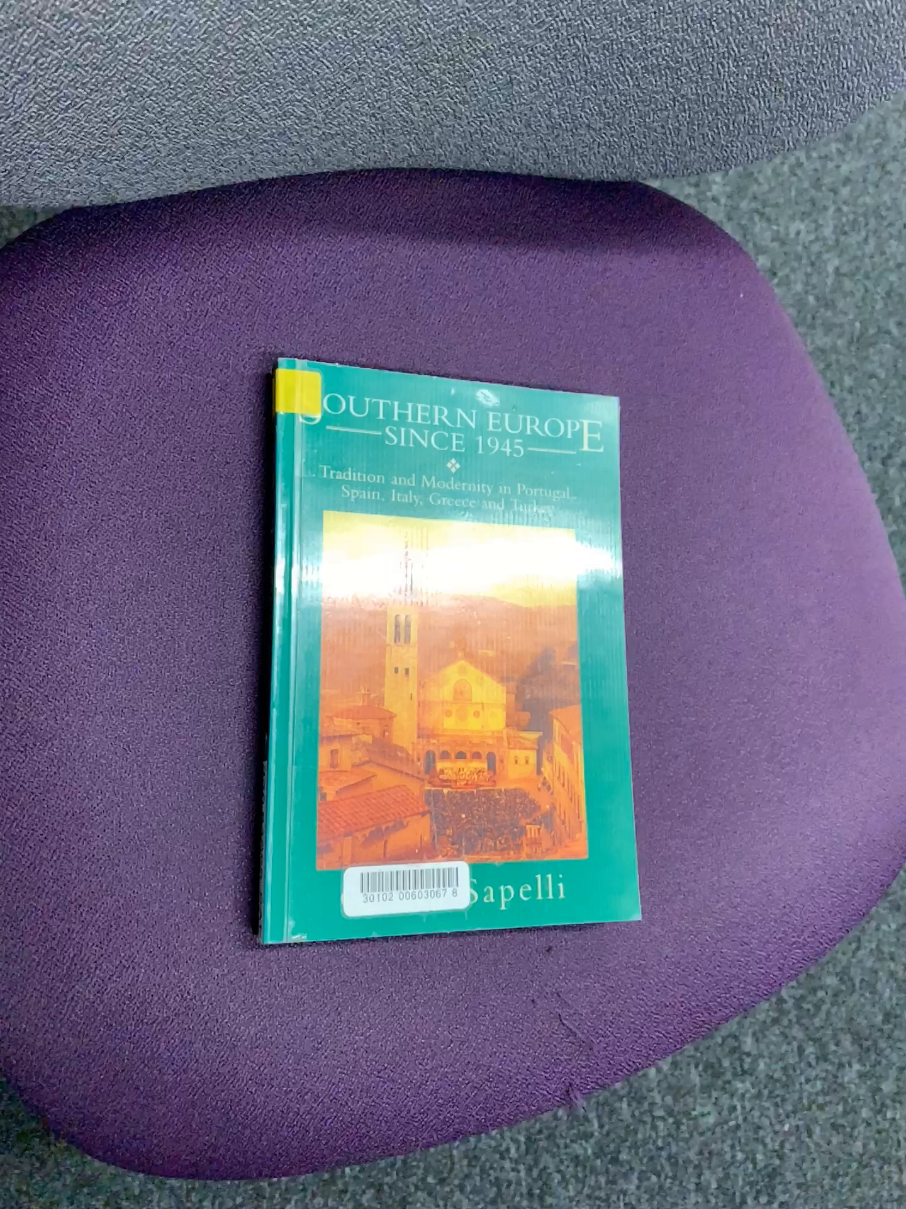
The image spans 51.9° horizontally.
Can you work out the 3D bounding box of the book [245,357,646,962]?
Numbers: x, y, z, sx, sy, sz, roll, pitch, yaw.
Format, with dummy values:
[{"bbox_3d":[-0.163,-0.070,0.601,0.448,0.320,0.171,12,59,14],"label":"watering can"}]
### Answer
[{"bbox_3d":[-0.001,0.018,0.372,0.153,0.020,0.221,2,80,-18],"label":"book"}]
